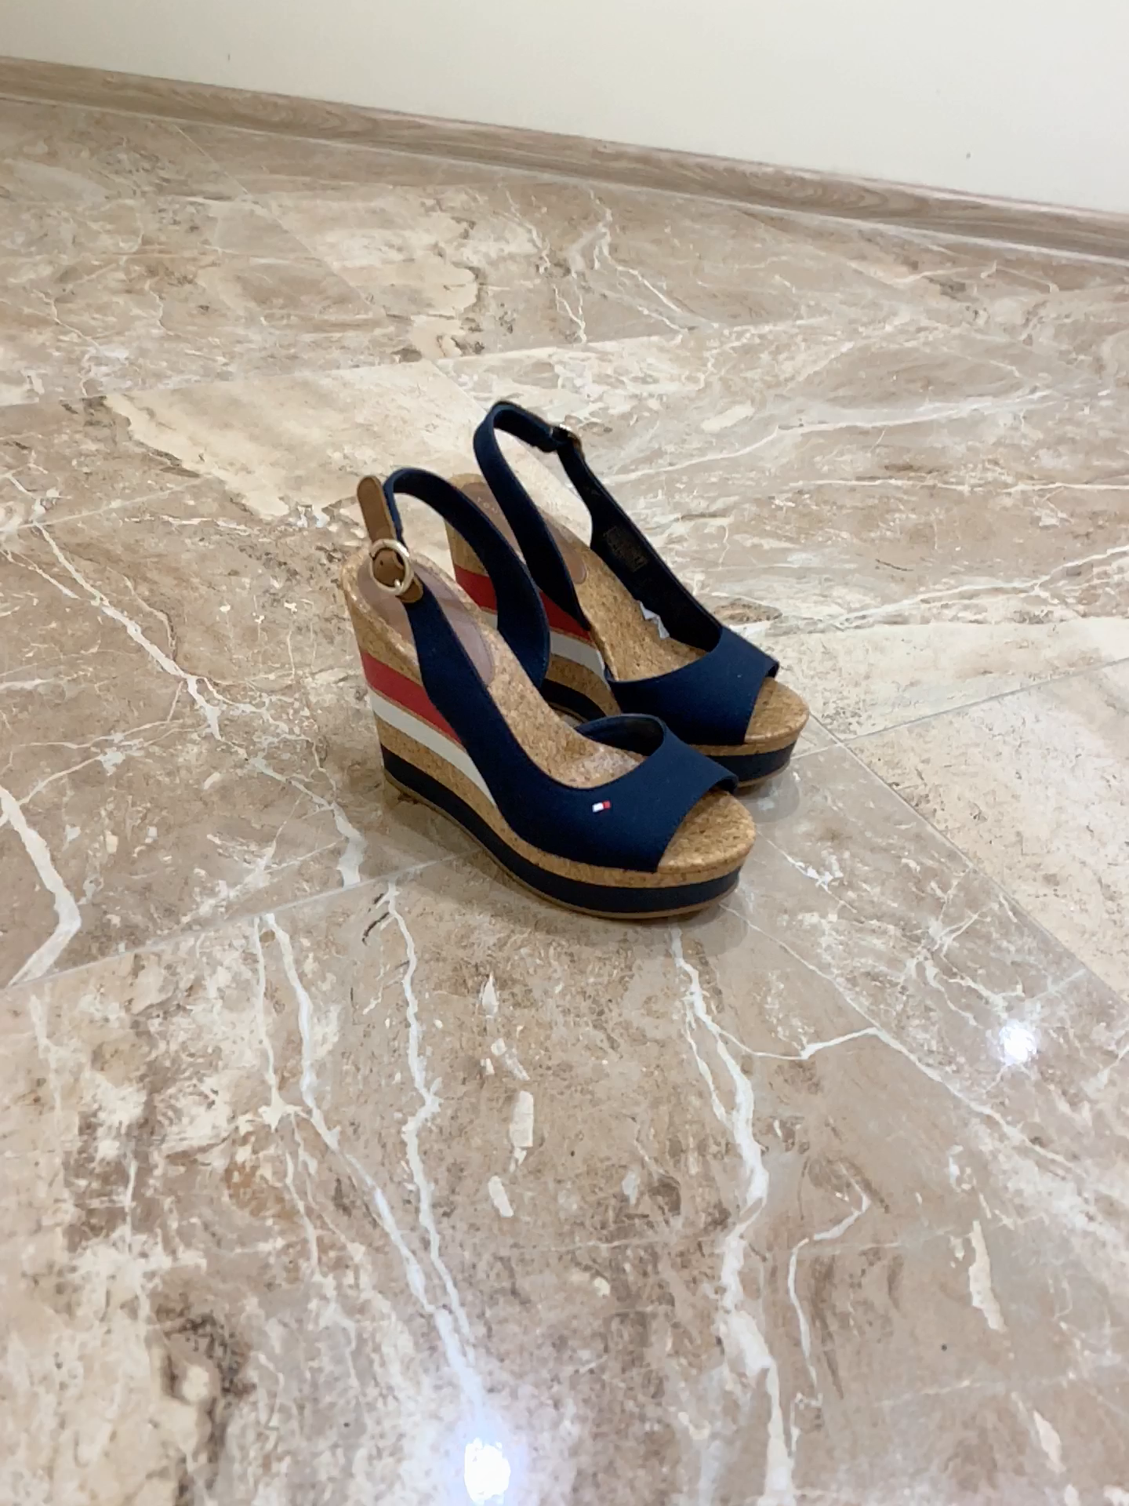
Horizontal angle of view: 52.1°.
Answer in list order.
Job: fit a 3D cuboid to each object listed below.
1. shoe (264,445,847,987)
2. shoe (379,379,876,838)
[{"bbox_3d":[-0.010,-0.021,0.494,0.210,0.145,0.090,21,40,20],"label":"shoe"},{"bbox_3d":[0.023,-0.076,0.572,0.210,0.145,0.090,21,40,20],"label":"shoe"}]
